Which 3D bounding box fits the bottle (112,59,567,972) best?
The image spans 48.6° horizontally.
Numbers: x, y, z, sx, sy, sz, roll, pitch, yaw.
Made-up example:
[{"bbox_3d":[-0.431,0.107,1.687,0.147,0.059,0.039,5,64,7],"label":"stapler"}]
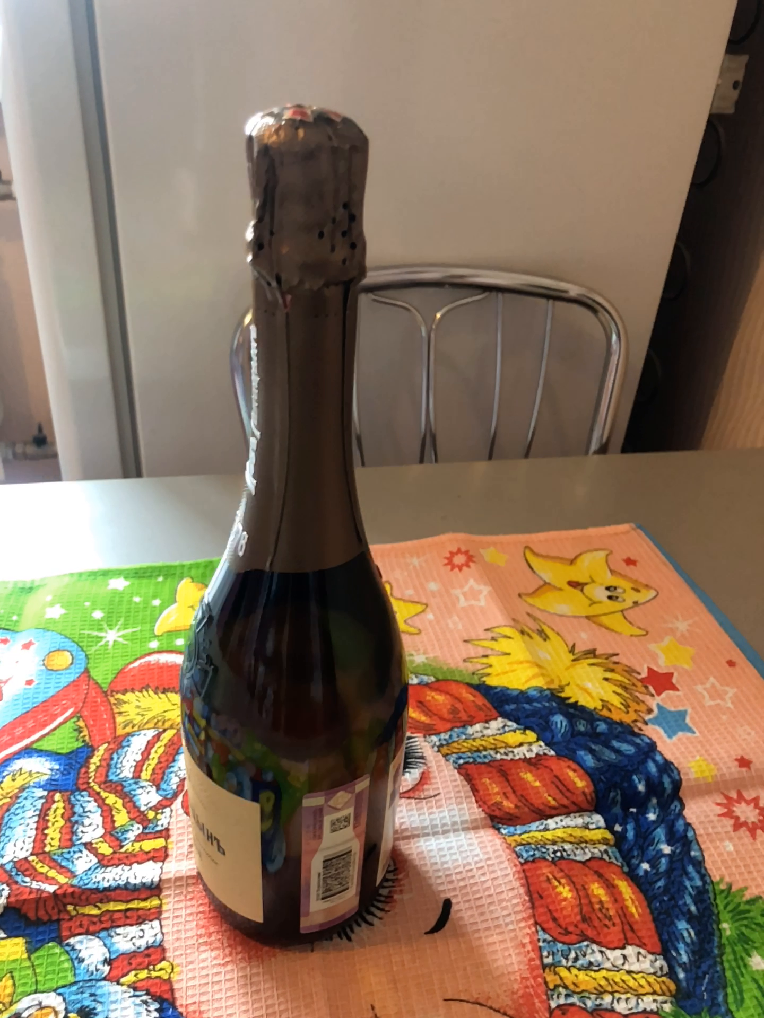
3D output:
[{"bbox_3d":[-0.025,0.026,0.292,0.093,0.308,0.091,3,33,-2],"label":"bottle"}]
